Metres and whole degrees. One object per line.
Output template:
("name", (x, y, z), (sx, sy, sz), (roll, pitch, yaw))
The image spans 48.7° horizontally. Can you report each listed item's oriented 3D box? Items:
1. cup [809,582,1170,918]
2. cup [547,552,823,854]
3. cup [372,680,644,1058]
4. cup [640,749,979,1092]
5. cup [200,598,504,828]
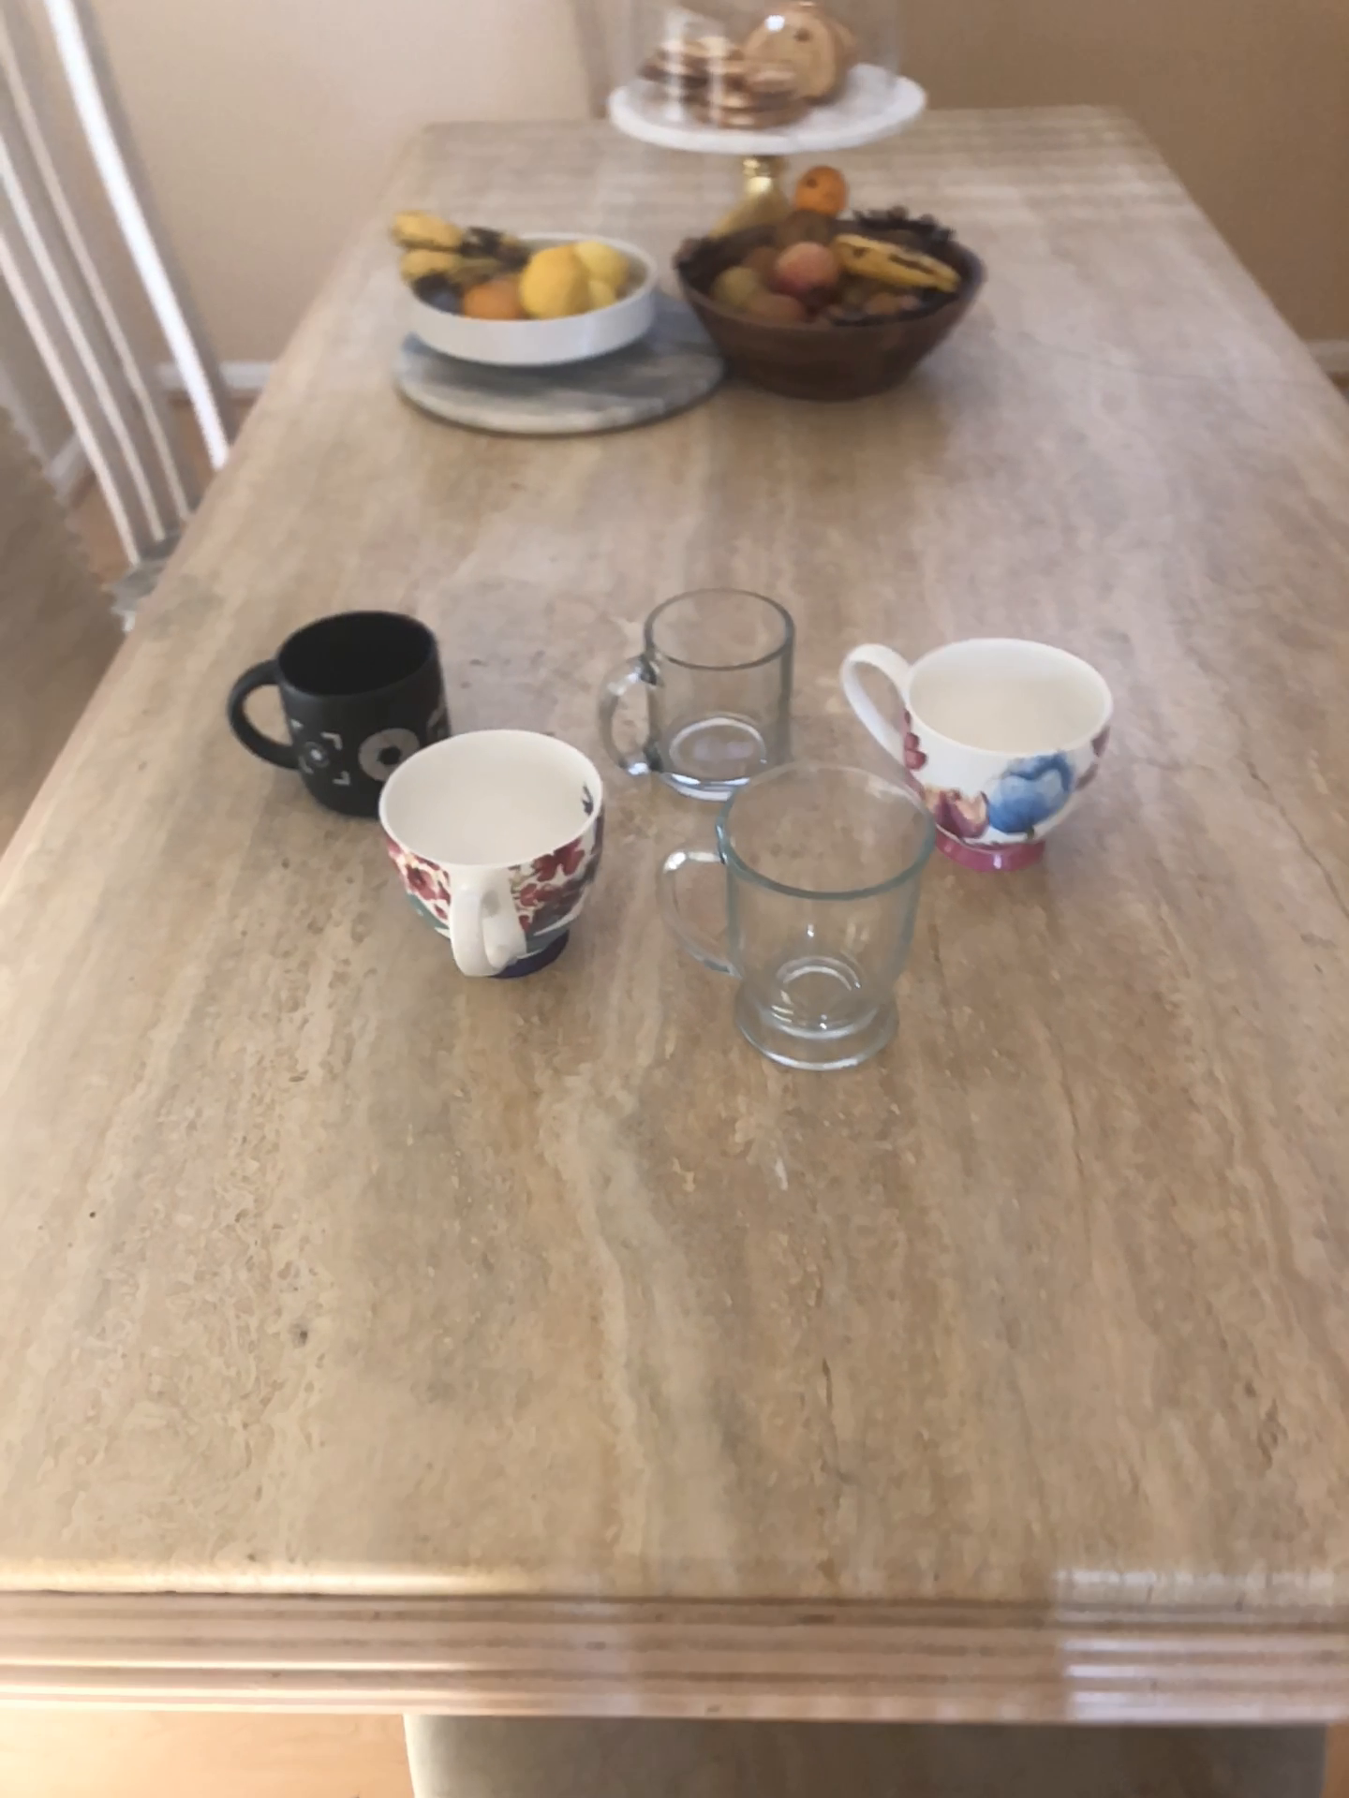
("cup", (0.166, -0.084, 0.802), (0.150, 0.099, 0.111), (21, 47, 24))
("cup", (0.006, -0.113, 0.854), (0.130, 0.119, 0.091), (-13, 43, -12))
("cup", (-0.078, -0.018, 0.719), (0.110, 0.099, 0.151), (-5, 42, -3))
("cup", (0.061, 0.010, 0.693), (0.140, 0.119, 0.101), (1, 42, 4))
("cup", (-0.181, -0.109, 0.866), (0.140, 0.089, 0.101), (1, 42, 4))
